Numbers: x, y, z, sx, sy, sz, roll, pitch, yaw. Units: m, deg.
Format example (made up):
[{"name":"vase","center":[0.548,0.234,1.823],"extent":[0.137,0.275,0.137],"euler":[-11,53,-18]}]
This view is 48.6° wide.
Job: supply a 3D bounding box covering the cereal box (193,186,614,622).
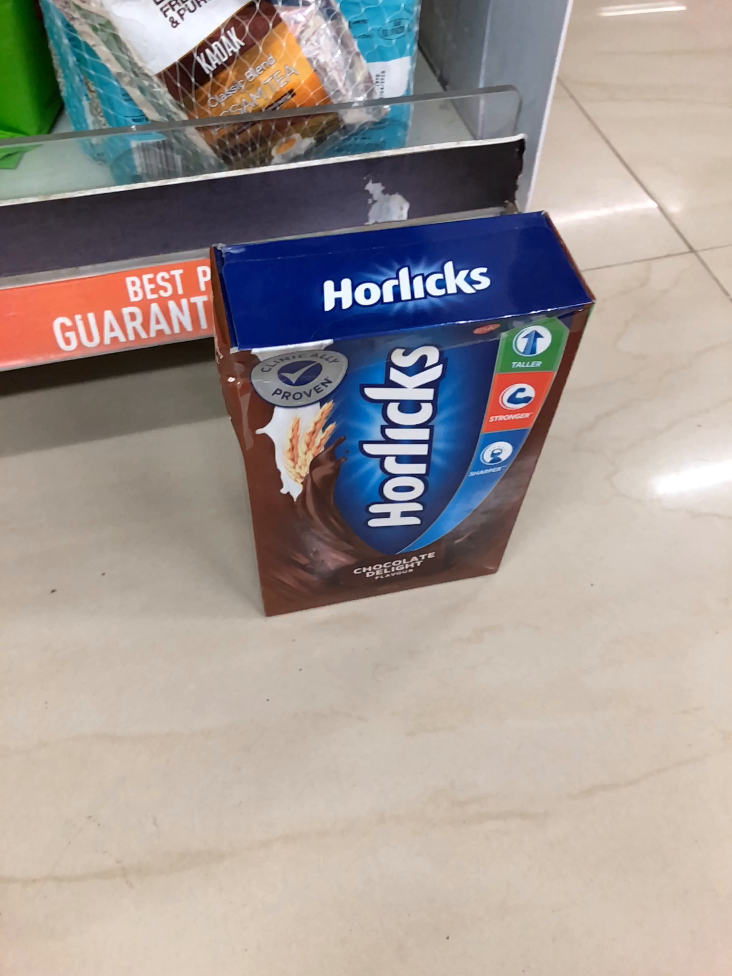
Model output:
[{"name":"cereal box","center":[0.008,-0.023,0.376],"extent":[0.140,0.209,0.060],"euler":[-10,57,-9]}]
